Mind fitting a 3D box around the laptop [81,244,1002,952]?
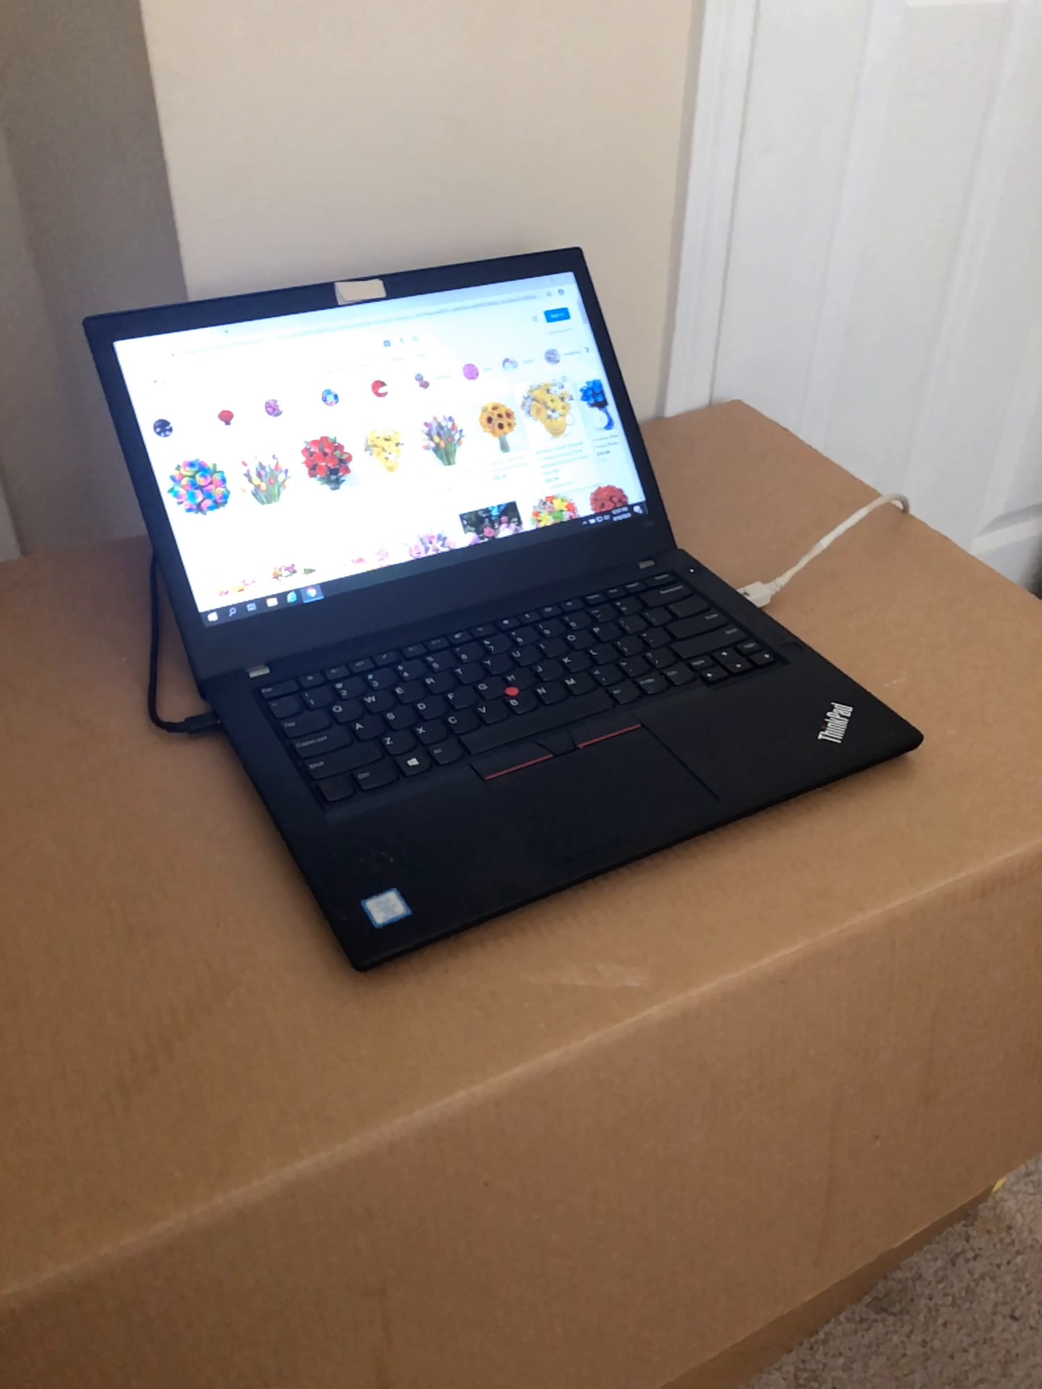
[{"bbox_3d":[-0.016,-0.097,0.622,0.323,0.158,0.366,-17,40,-23],"label":"laptop"}]
